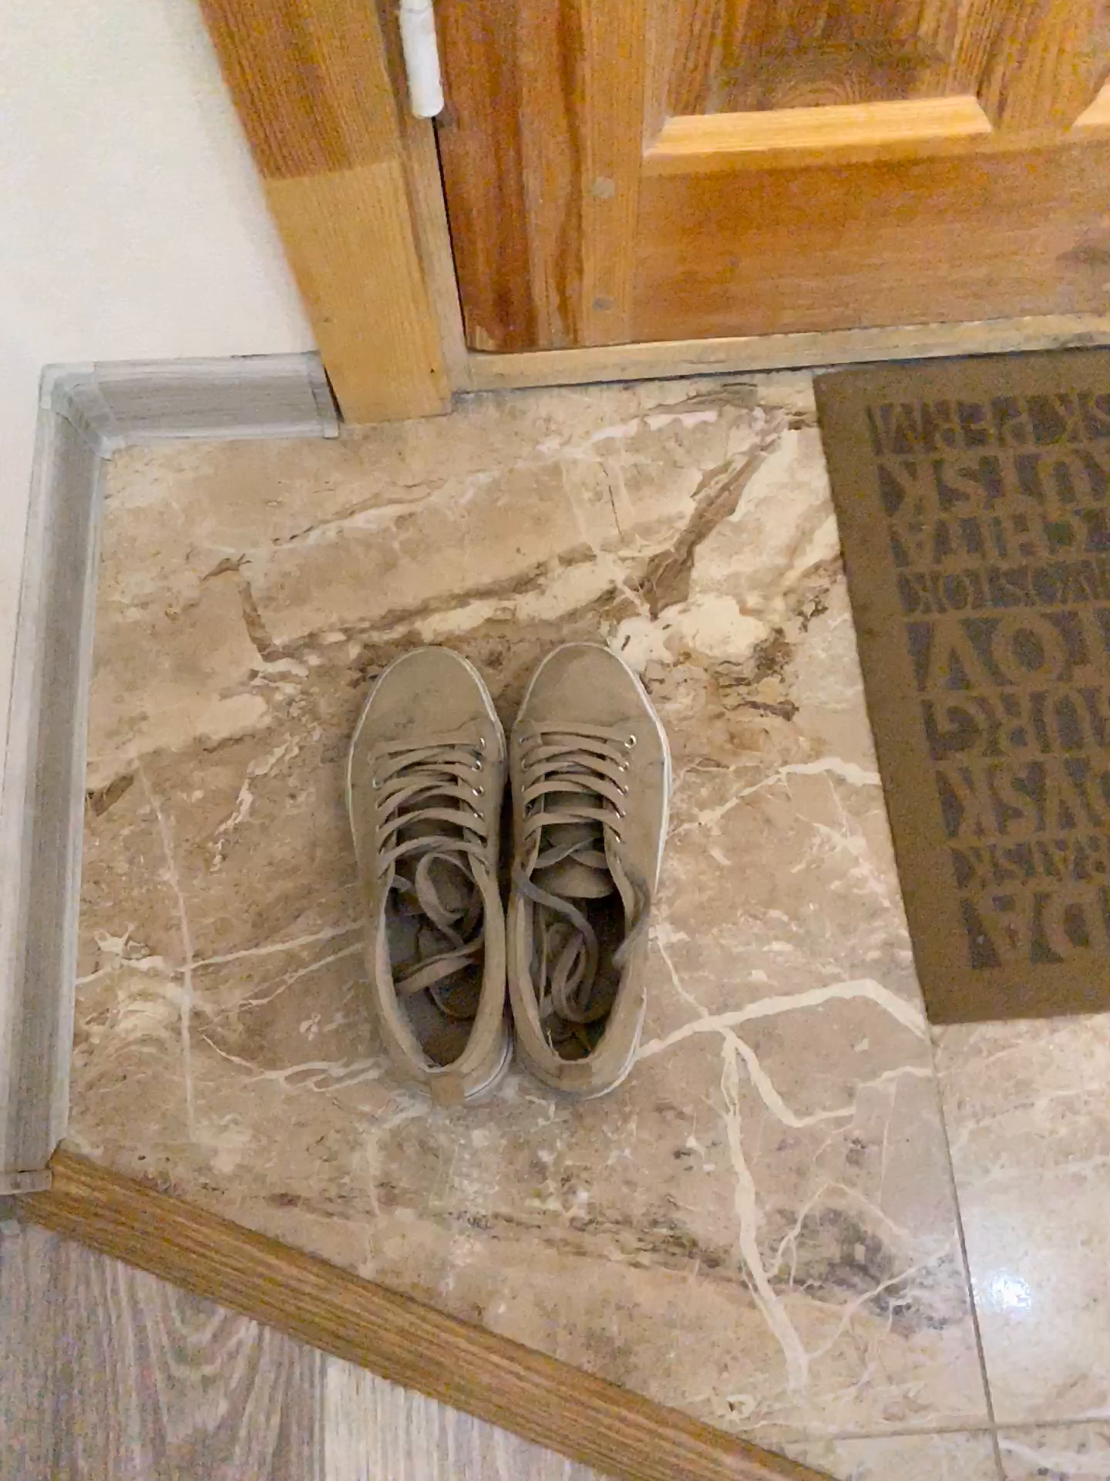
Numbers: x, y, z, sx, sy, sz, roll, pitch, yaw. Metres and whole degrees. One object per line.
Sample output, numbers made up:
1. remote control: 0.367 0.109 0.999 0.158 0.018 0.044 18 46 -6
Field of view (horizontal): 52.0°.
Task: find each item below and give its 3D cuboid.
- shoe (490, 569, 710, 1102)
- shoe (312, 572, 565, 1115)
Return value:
1. shoe: 0.021 0.048 0.552 0.090 0.100 0.240 0 71 1
2. shoe: -0.056 0.053 0.562 0.090 0.100 0.240 -8 71 -1
